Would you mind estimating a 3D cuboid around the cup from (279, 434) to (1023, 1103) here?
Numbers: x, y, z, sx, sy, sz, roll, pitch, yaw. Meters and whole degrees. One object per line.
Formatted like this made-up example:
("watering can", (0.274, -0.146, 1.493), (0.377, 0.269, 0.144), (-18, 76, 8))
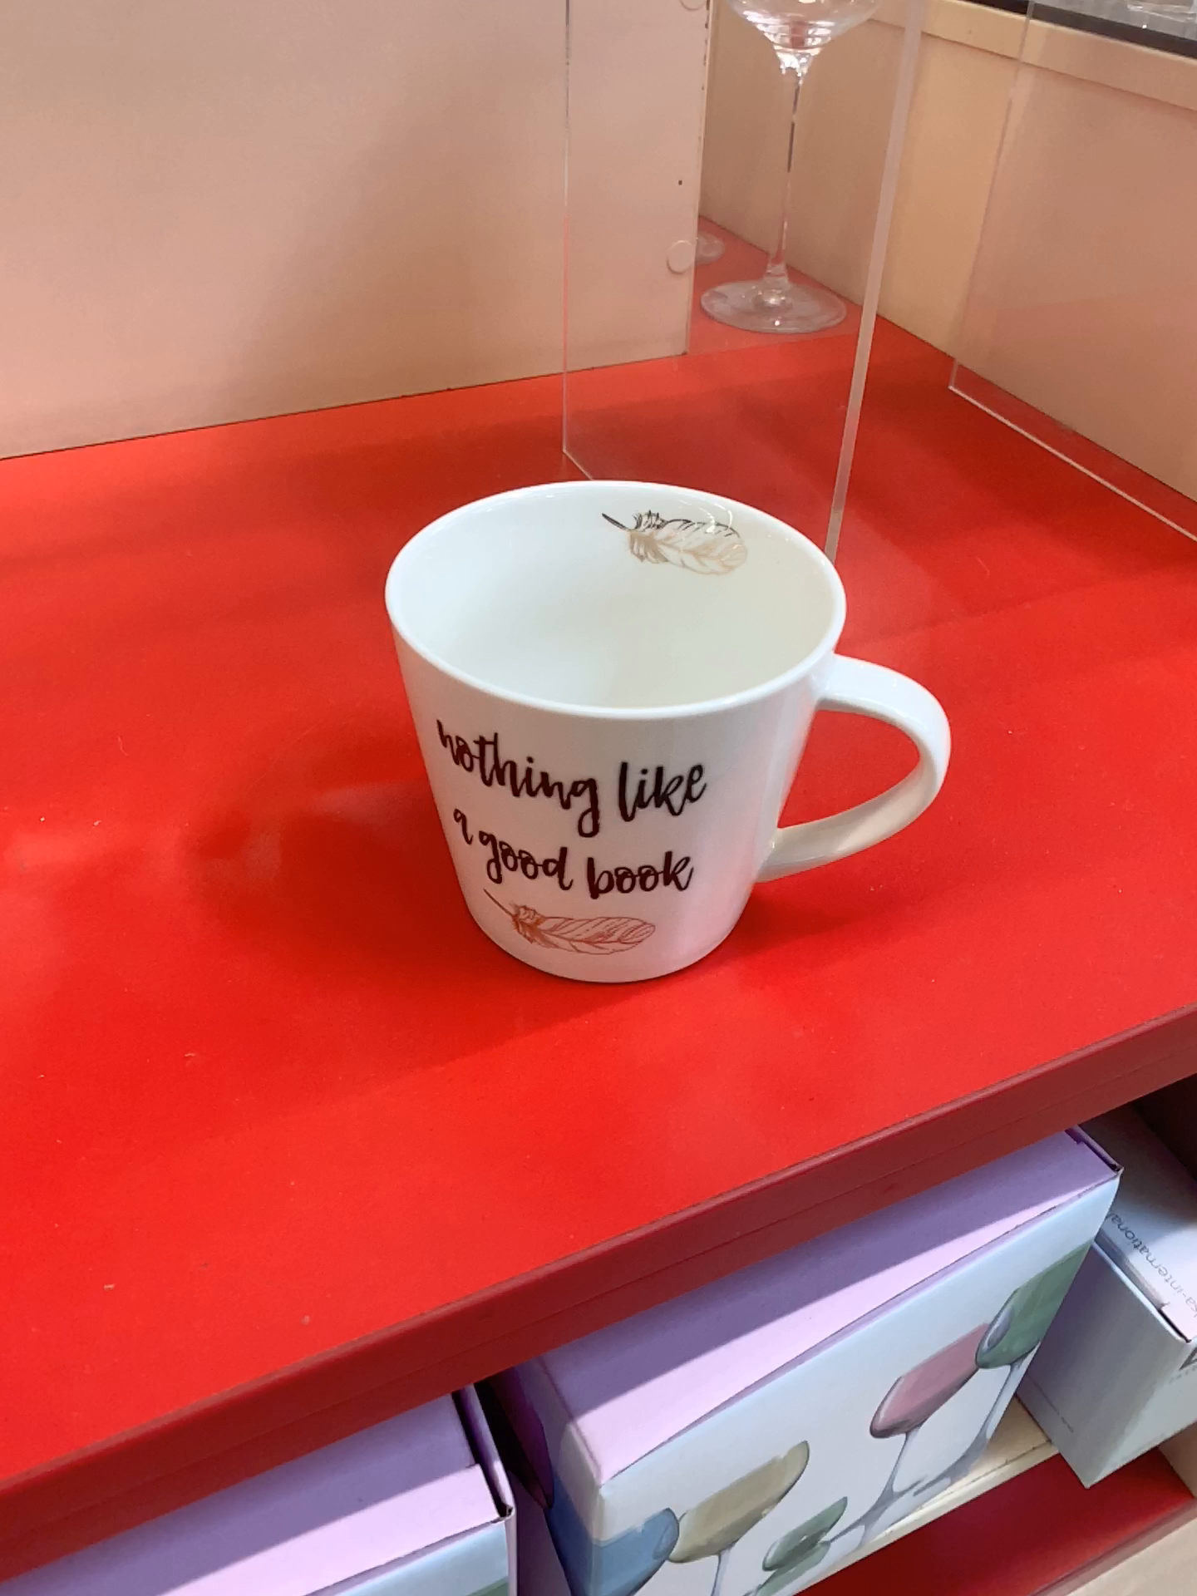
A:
("cup", (0.015, -0.012, 0.279), (0.130, 0.090, 0.090), (13, 41, 14))
